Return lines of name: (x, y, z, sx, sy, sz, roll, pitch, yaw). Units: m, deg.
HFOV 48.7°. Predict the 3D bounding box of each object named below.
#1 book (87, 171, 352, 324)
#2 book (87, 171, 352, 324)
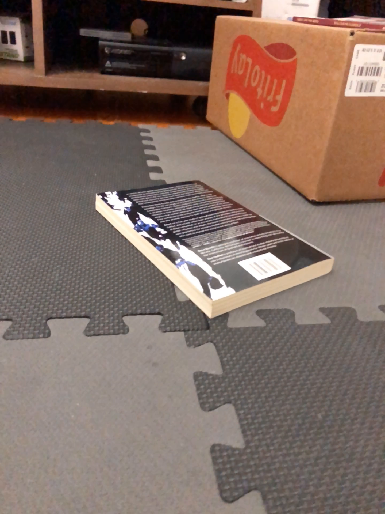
book: (0.013, -0.030, 0.419, 0.150, 0.020, 0.231, -16, 36, -32)
book: (0.013, -0.030, 0.419, 0.150, 0.020, 0.231, -16, 36, -32)
